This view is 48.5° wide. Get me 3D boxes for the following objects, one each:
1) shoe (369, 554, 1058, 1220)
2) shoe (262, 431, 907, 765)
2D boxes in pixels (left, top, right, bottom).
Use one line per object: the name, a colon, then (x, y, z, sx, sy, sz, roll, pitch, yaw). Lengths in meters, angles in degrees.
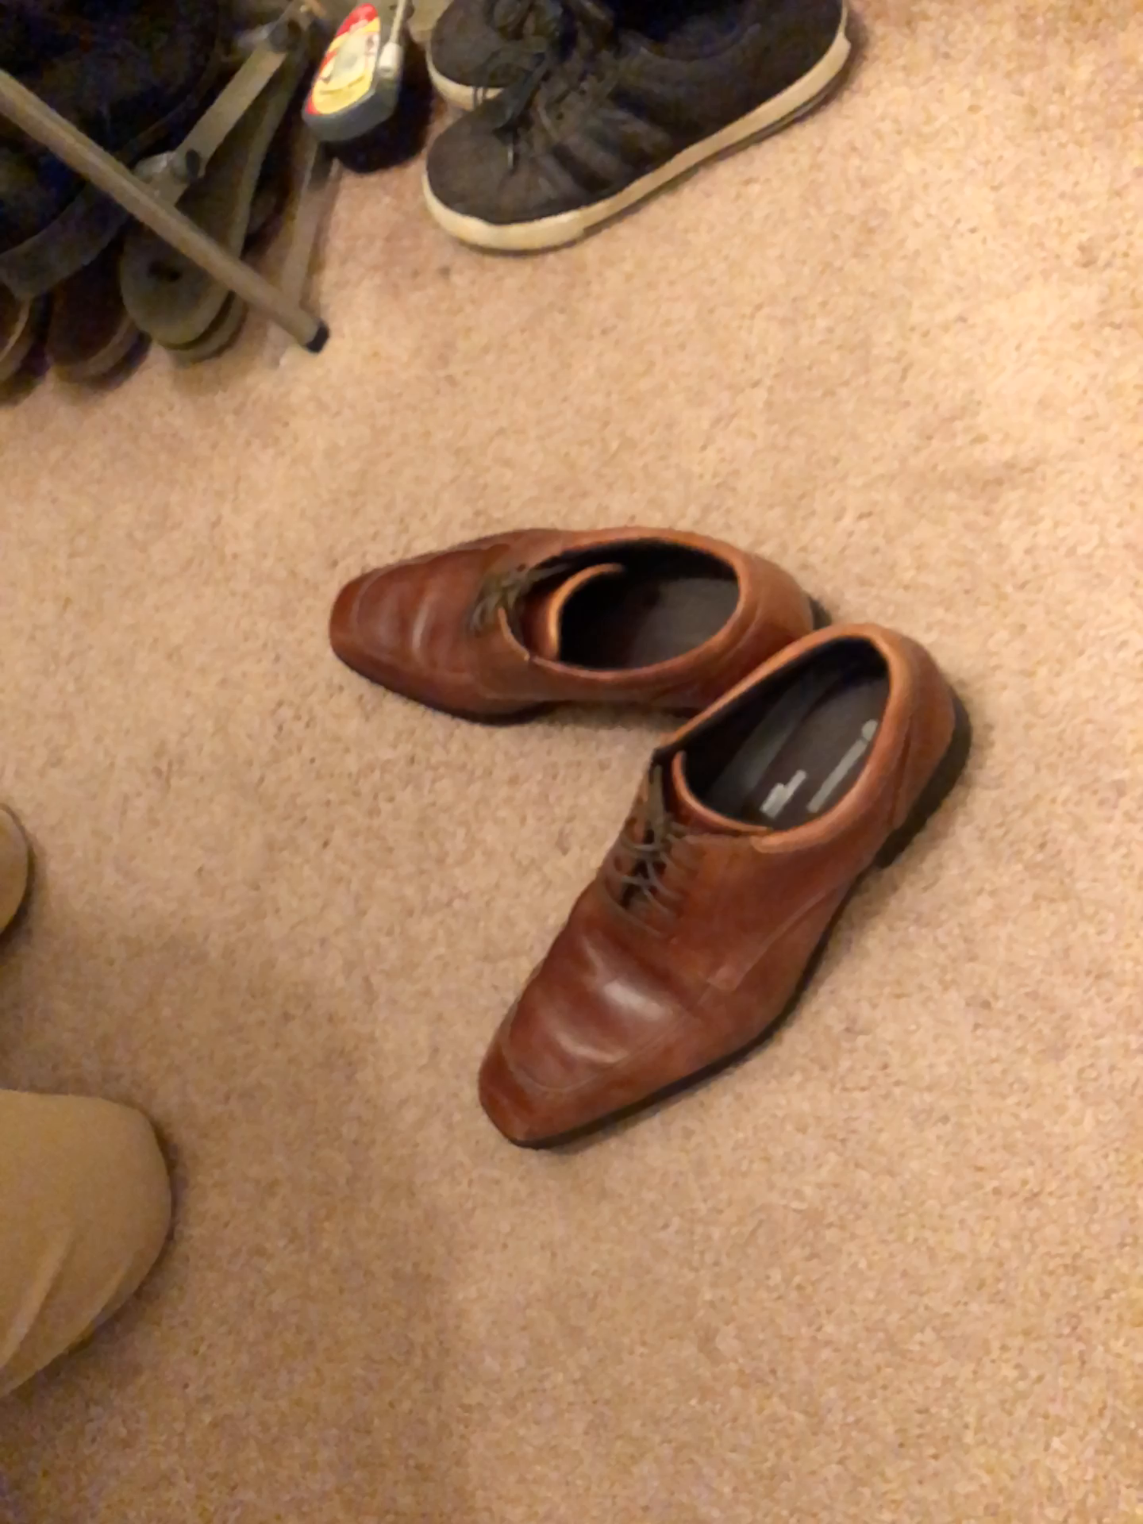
shoe: (0.064, 0.066, 0.578, 0.300, 0.110, 0.100, -46, 59, 9)
shoe: (0.003, -0.087, 0.669, 0.301, 0.120, 0.120, 7, 78, 30)
